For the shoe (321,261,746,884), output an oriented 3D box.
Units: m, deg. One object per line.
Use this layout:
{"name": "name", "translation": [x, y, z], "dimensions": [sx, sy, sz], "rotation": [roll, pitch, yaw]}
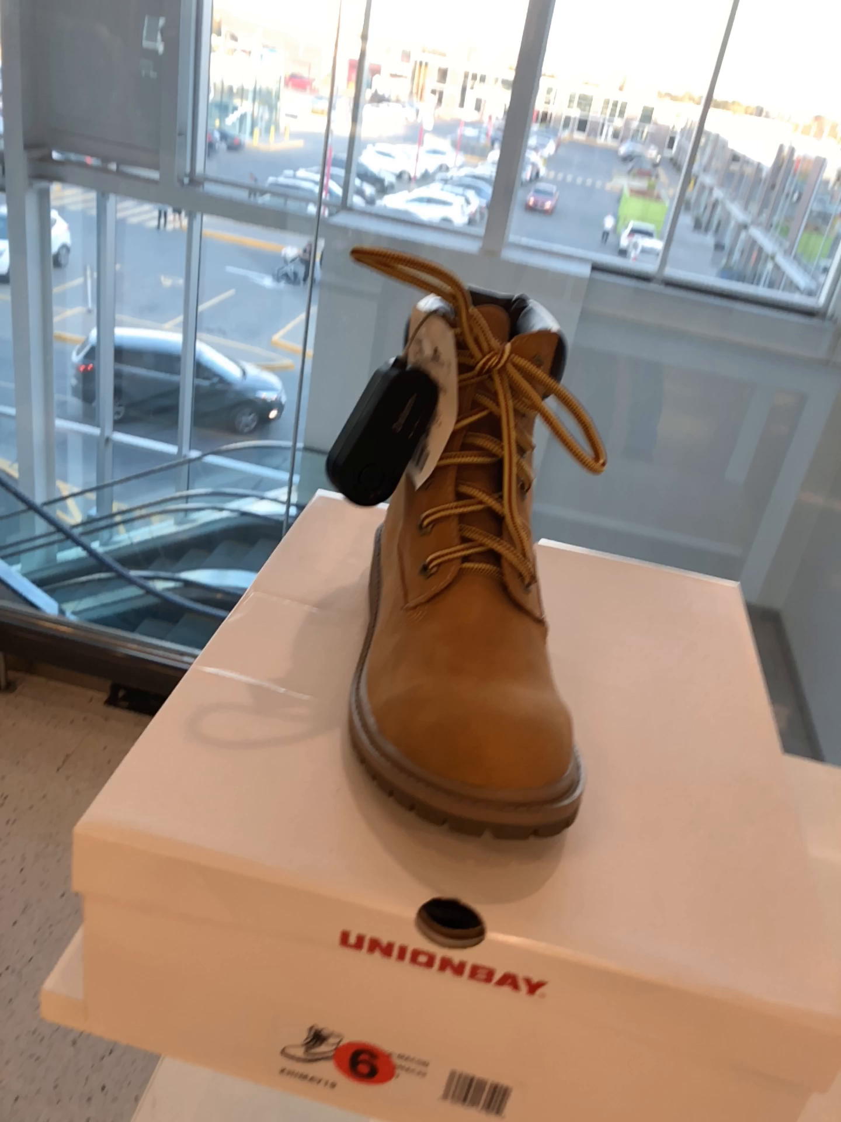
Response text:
{"name": "shoe", "translation": [0.021, -0.014, 0.412], "dimensions": [0.107, 0.169, 0.242], "rotation": [6, 28, -9]}
